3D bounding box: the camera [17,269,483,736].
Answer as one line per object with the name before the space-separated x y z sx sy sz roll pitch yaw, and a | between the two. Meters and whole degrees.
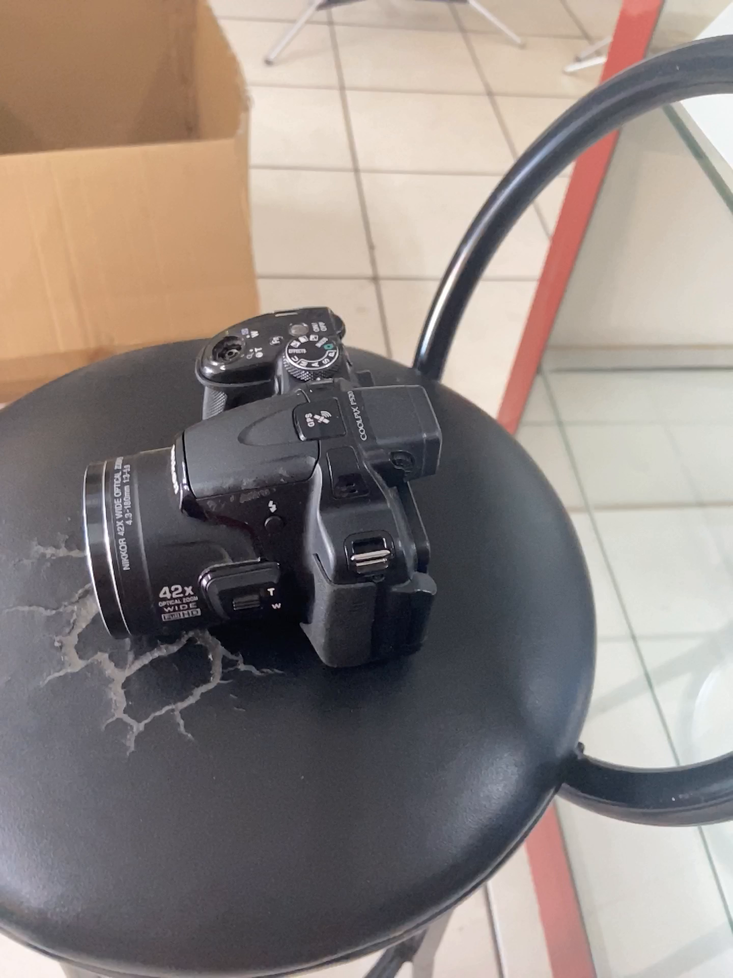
camera | -0.044 -0.003 0.263 0.120 0.070 0.131 -8 52 -12
